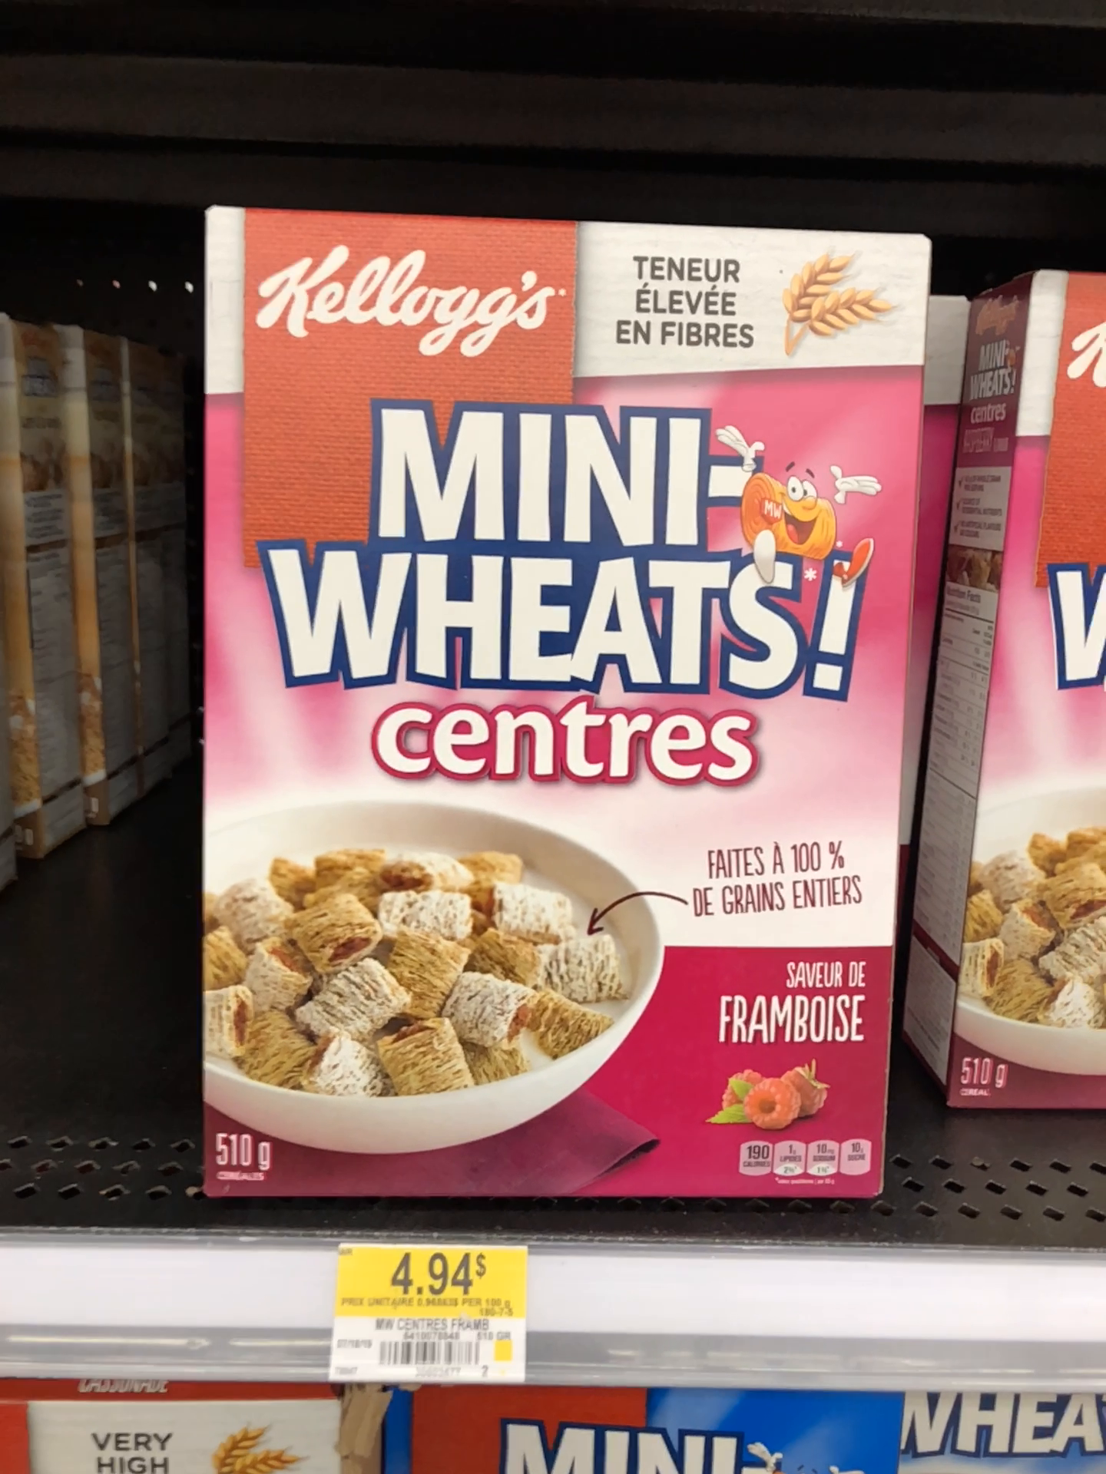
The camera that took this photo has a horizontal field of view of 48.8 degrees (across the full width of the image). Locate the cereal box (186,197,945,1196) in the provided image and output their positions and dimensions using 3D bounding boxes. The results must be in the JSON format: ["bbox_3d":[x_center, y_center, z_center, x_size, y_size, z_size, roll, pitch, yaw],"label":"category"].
[{"bbox_3d":[0.001,-0.008,0.354,0.190,0.259,0.070,1,6,-2],"label":"cereal box"}]
